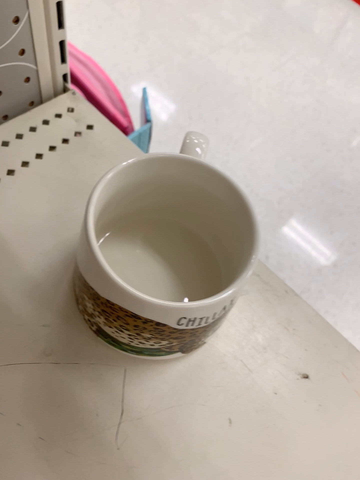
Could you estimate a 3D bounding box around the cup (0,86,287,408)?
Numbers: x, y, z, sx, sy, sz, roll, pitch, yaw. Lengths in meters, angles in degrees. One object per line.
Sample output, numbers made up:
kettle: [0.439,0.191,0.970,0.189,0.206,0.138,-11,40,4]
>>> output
cup: [-0.012,0.009,0.220,0.110,0.090,0.140,14,61,-5]
